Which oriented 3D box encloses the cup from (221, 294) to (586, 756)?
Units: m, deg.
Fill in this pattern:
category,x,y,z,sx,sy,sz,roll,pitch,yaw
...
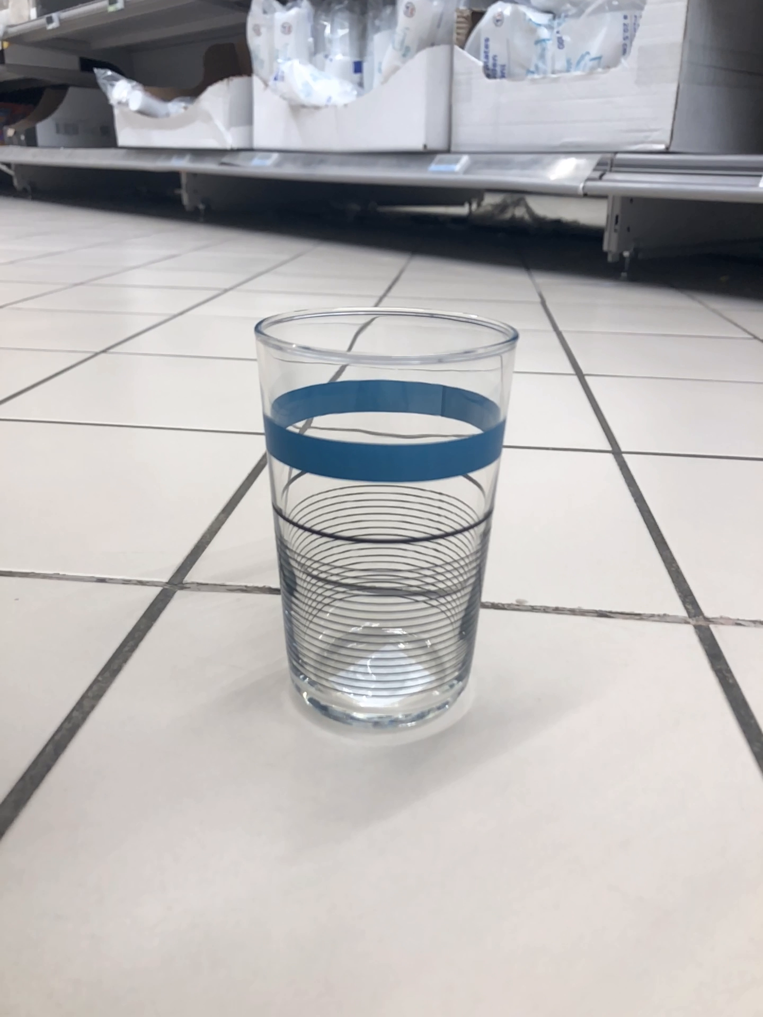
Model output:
category,x,y,z,sx,sy,sz,roll,pitch,yaw
cup,0.008,-0.002,0.237,0.079,0.102,0.080,1,21,0
